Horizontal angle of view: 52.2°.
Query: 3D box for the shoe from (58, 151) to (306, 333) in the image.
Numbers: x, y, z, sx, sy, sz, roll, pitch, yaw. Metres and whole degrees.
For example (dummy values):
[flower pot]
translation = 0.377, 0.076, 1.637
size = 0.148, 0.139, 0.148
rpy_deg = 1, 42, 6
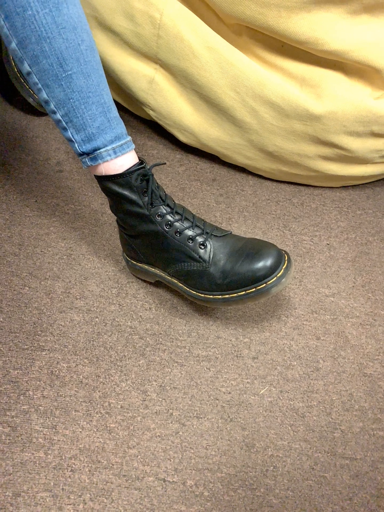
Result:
[shoe]
translation = -0.016, -0.035, 0.528
size = 0.290, 0.150, 0.120
rpy_deg = 15, 50, 36
